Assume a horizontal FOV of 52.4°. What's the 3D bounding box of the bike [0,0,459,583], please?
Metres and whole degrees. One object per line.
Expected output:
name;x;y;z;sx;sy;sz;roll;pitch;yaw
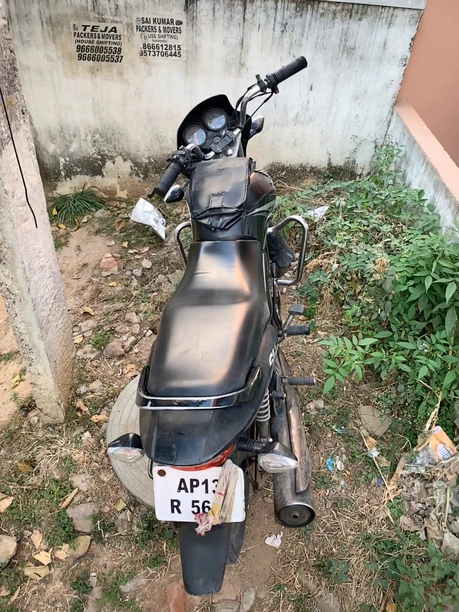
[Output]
bike;-0.042;-0.121;1.338;0.734;1.102;1.245;4;52;-3
